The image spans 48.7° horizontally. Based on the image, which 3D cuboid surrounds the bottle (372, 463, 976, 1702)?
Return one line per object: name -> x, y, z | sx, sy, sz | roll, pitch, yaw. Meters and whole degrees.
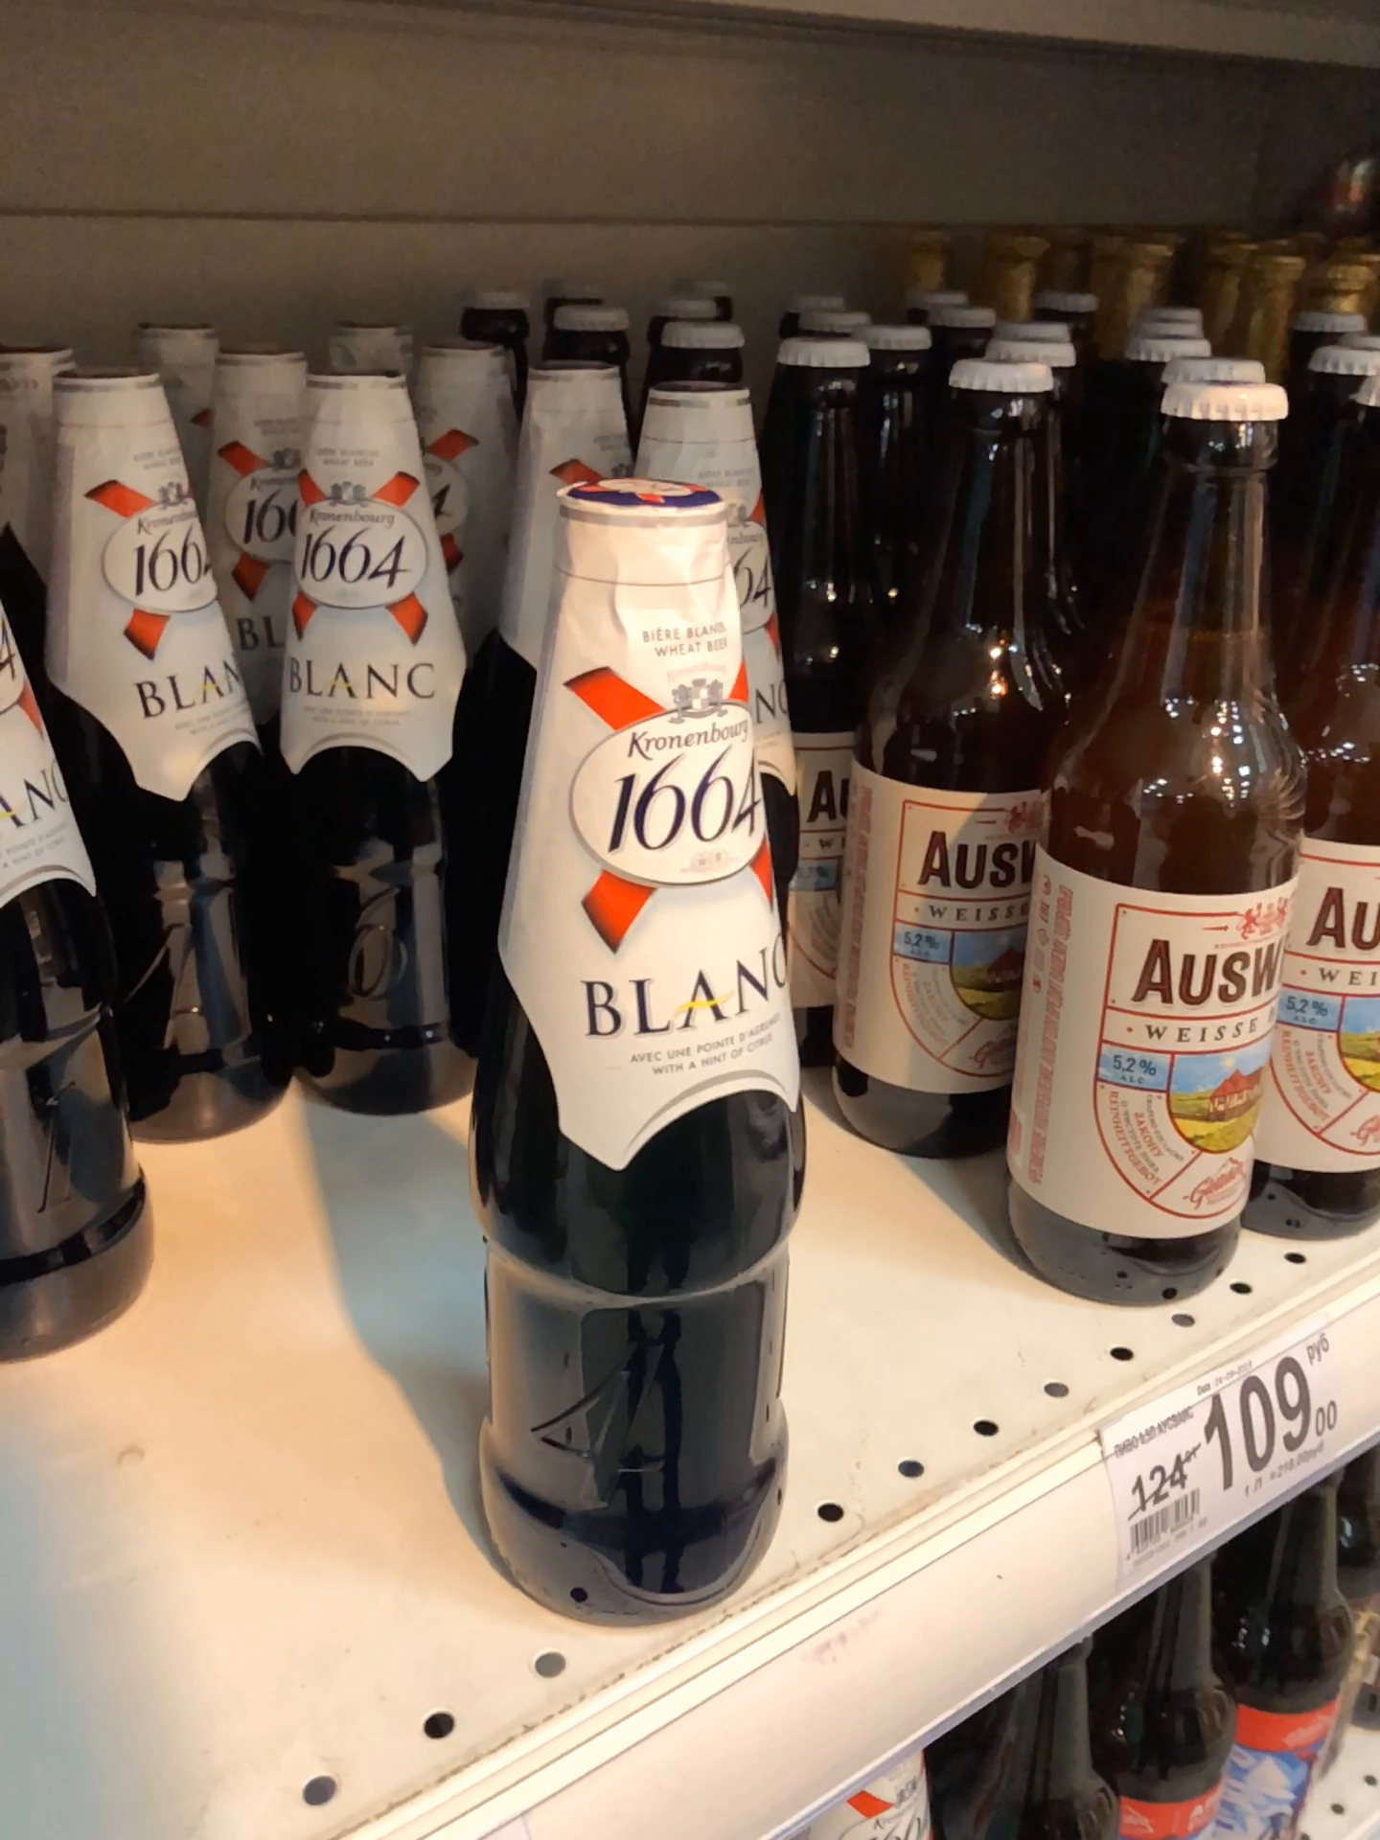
bottle -> -0.008, 0.035, 0.312 | 0.080, 0.234, 0.070 | -12, 29, -27
